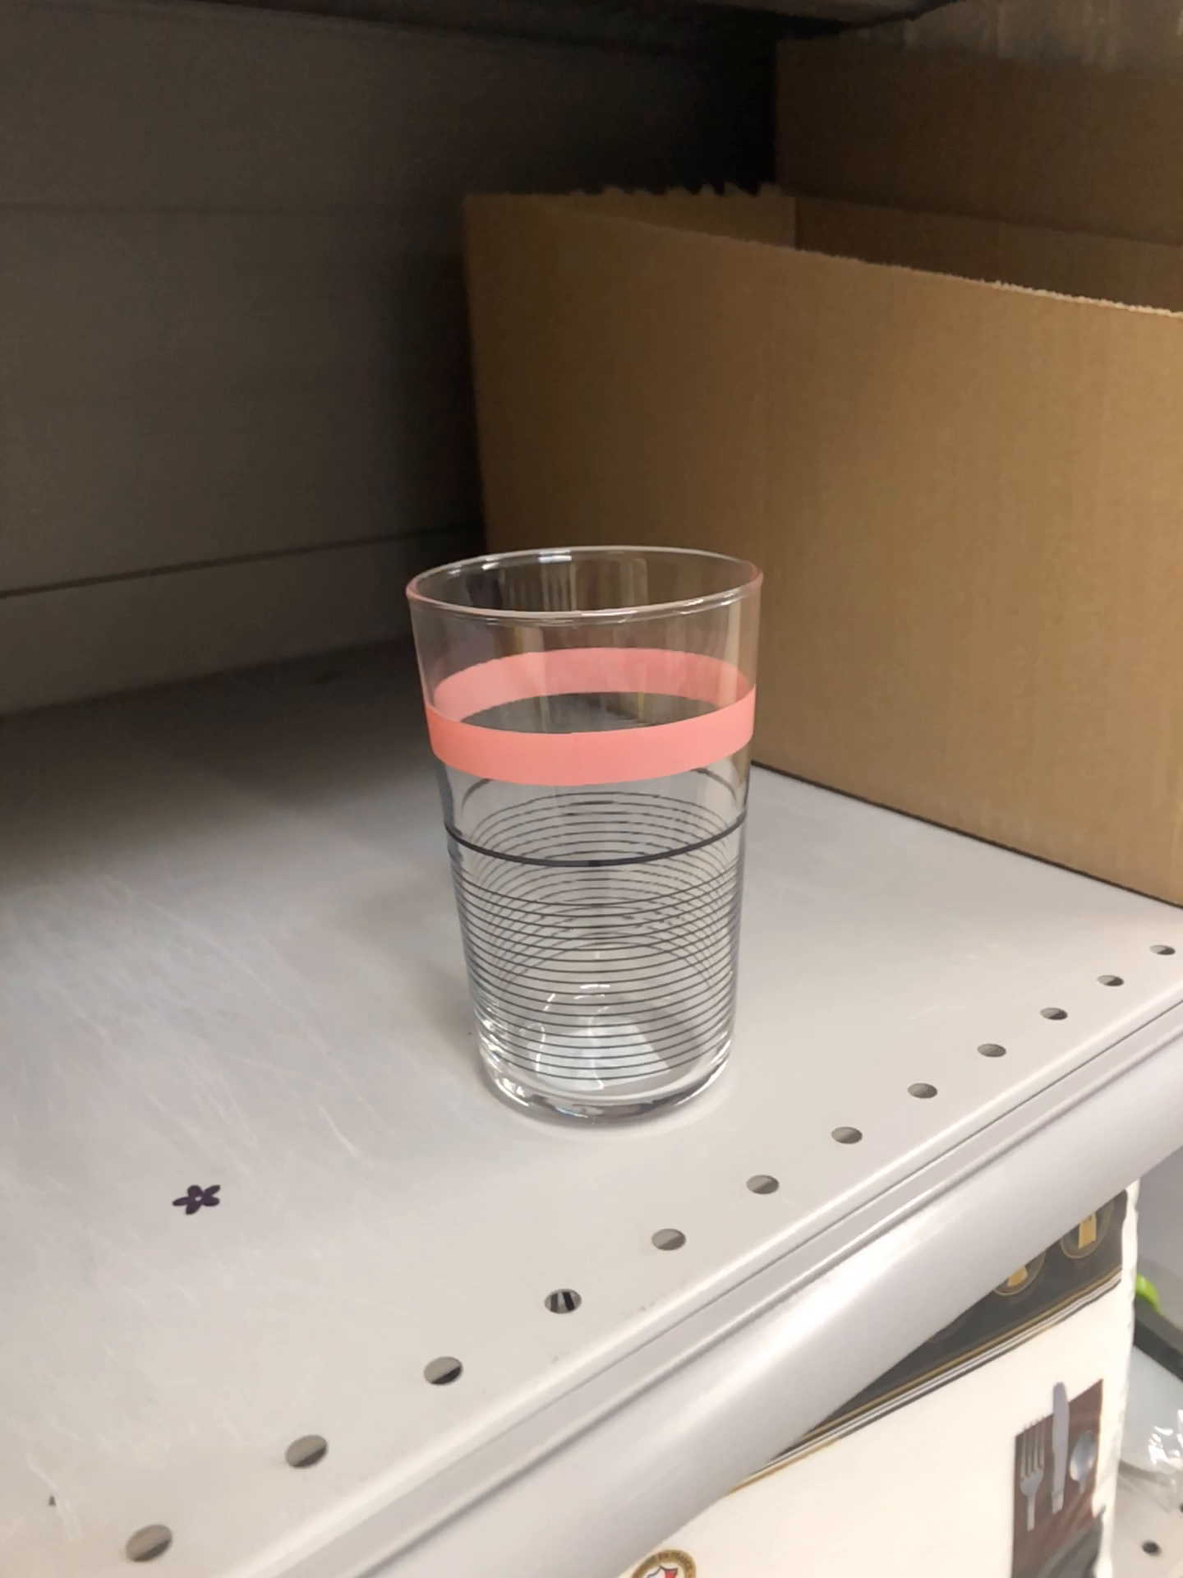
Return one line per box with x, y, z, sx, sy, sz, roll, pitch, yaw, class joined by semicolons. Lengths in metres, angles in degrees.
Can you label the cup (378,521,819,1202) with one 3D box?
0.000;0.012;0.285;0.073;0.123;0.064;-7;23;-14;cup
